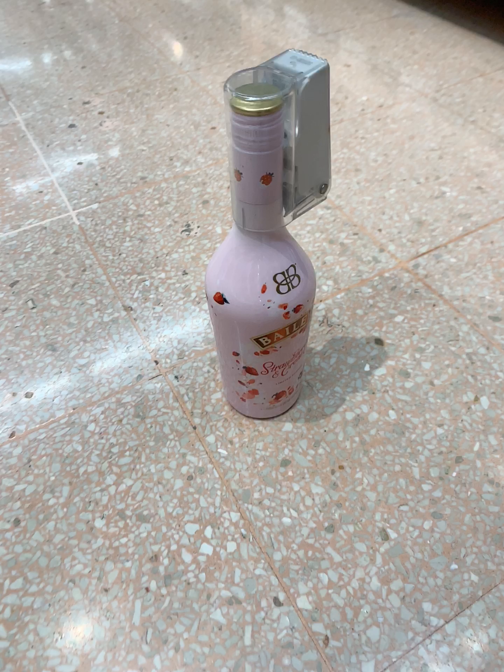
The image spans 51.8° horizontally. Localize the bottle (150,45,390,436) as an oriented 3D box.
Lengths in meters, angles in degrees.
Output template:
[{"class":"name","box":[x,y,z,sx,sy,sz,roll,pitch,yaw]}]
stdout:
[{"class":"bottle","box":[0.013,-0.046,0.370,0.104,0.253,0.073,-31,55,-22]}]
